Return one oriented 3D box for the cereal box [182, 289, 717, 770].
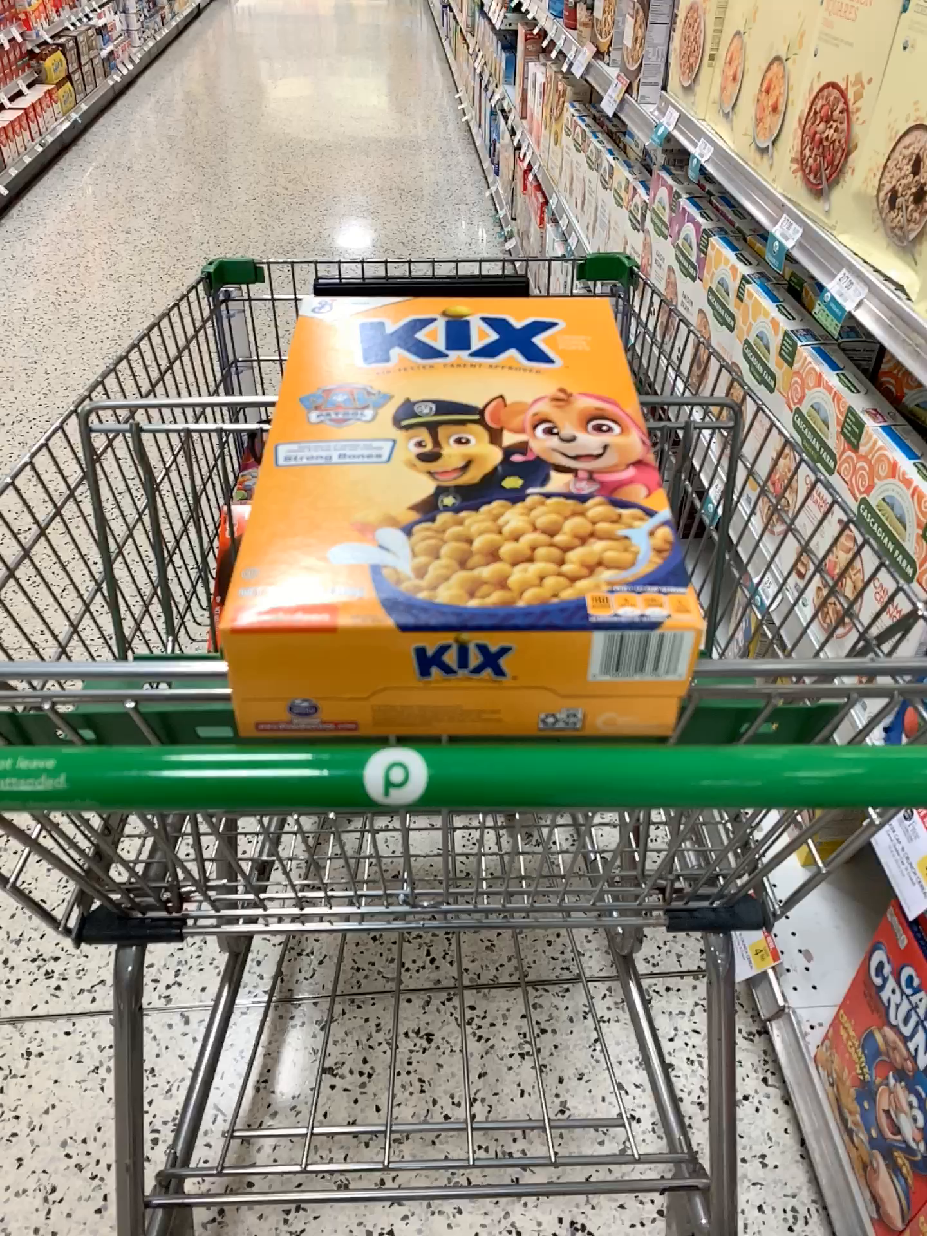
[{"bbox_3d":[-0.008,-0.071,0.517,0.210,0.079,0.324,0,43,-1],"label":"cereal box"}]
